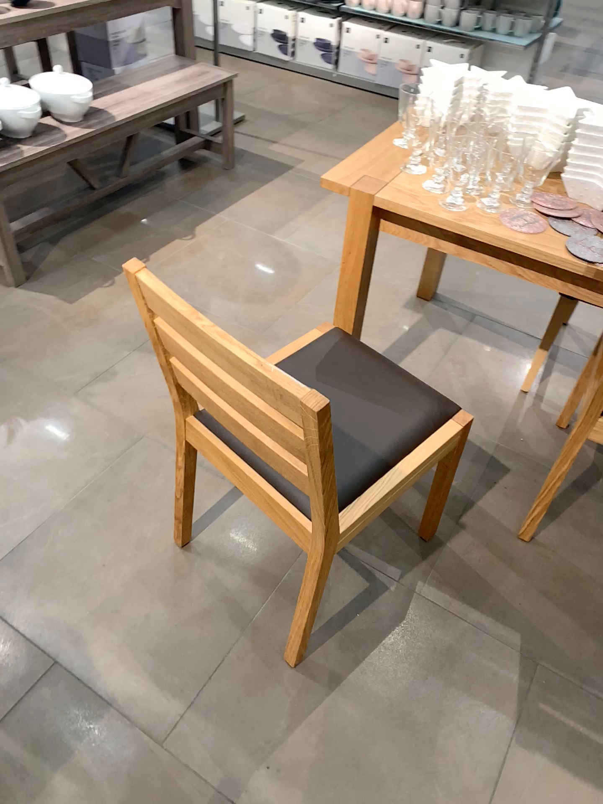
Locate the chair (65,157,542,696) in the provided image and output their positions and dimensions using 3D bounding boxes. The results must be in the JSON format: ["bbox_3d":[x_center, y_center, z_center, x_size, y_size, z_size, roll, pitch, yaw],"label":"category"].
[{"bbox_3d":[-0.015,0.048,1.303,0.566,0.815,0.565,-33,55,-33],"label":"chair"}]
